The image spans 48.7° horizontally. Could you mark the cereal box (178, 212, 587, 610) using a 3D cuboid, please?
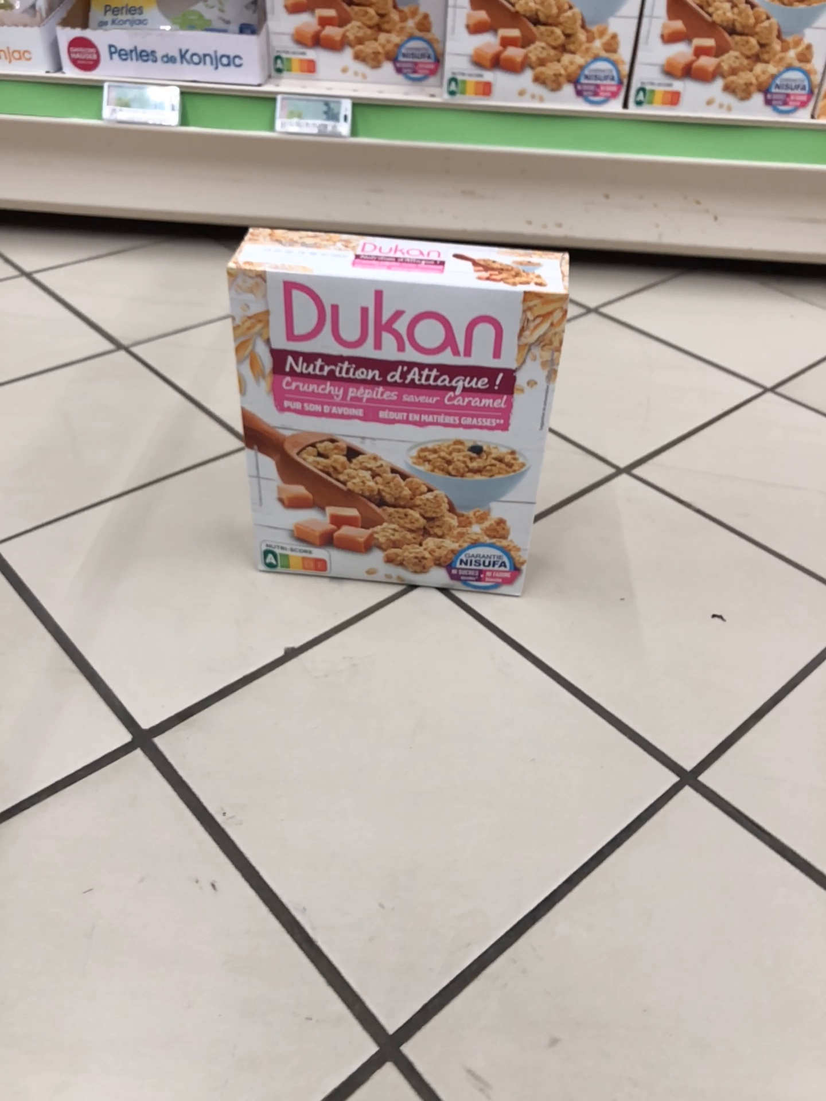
[{"bbox_3d":[-0.017,-0.070,0.506,0.190,0.199,0.060,5,38,2],"label":"cereal box"}]
